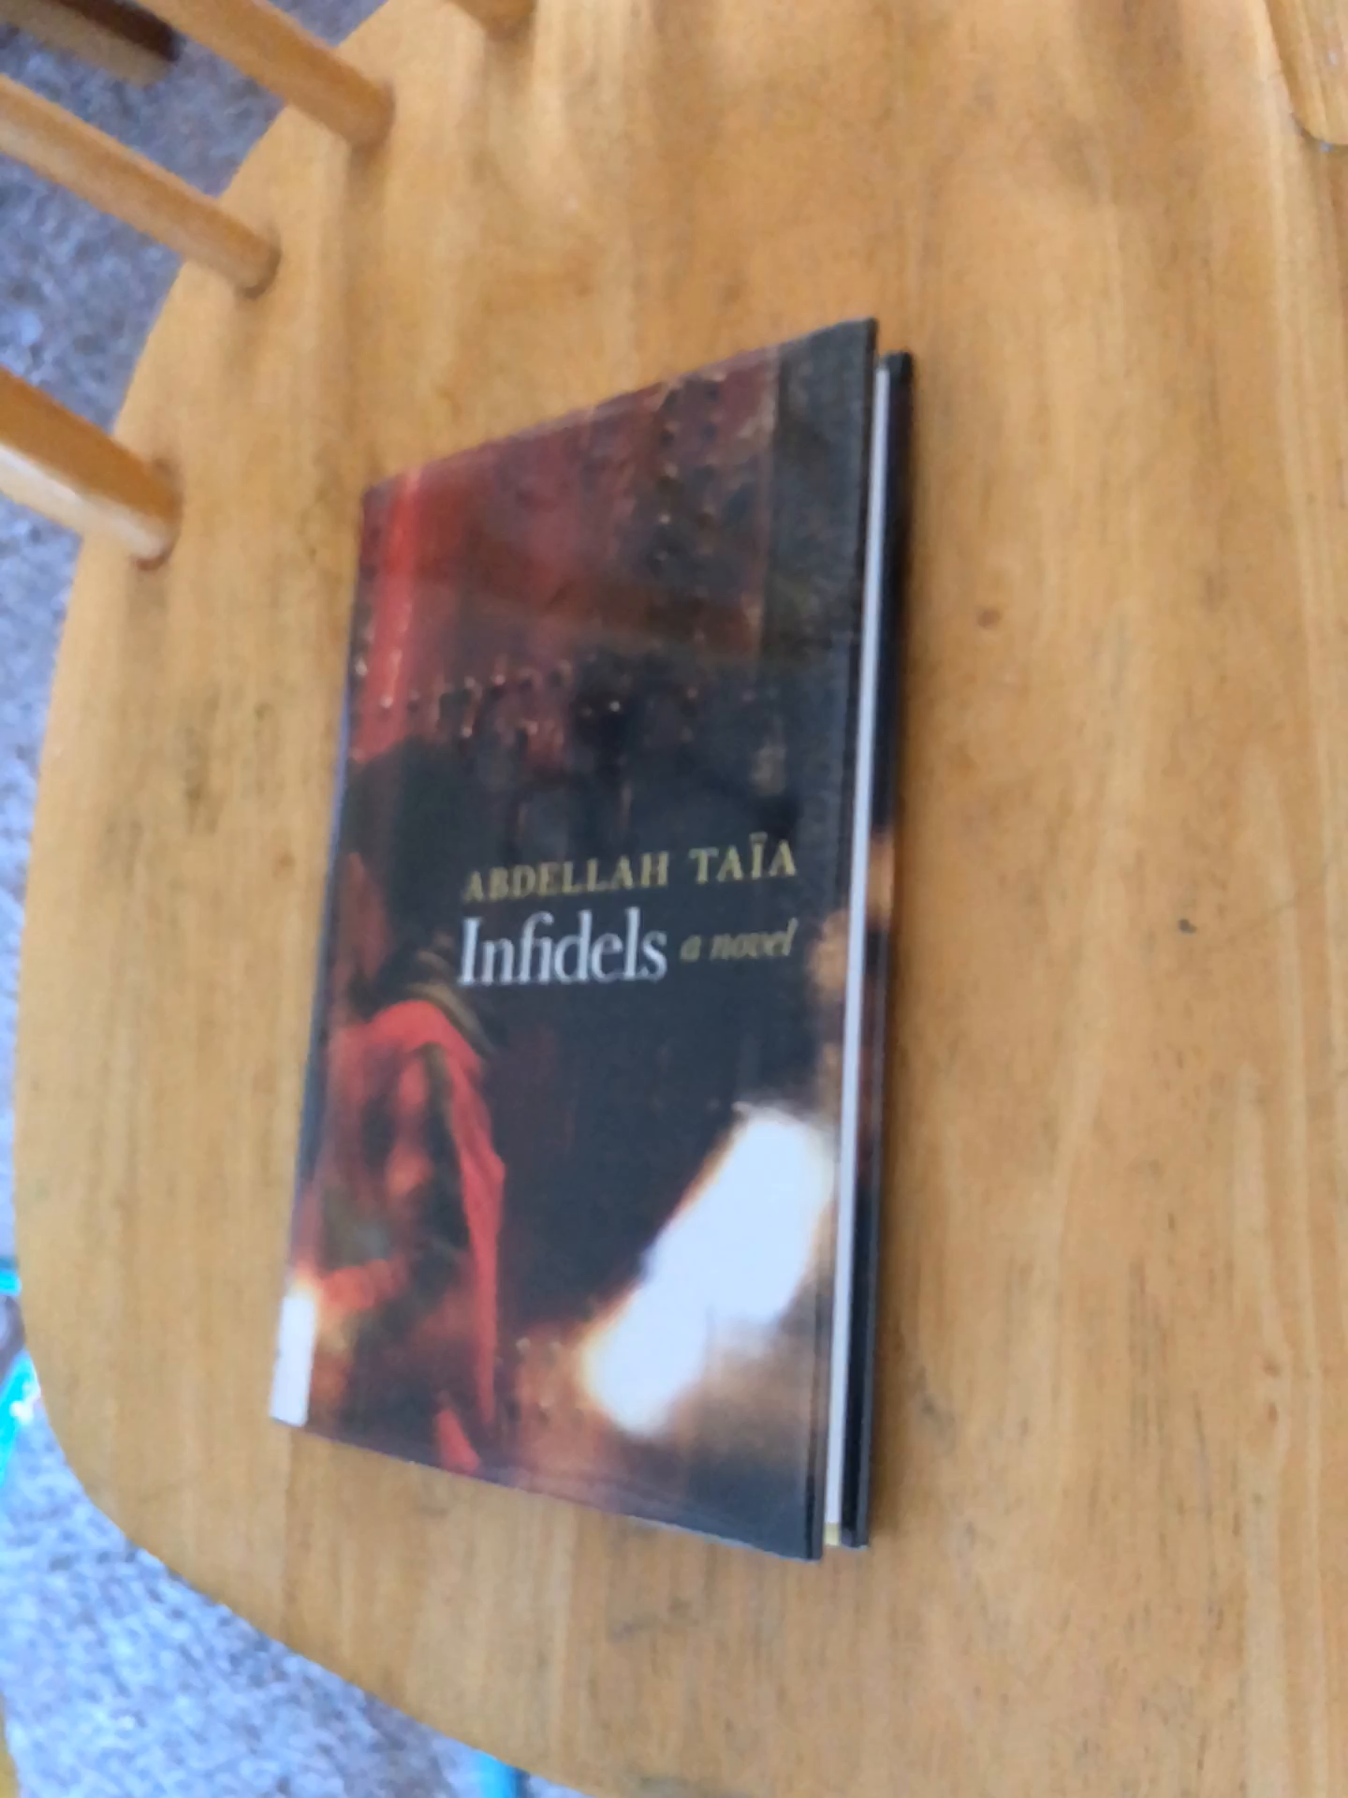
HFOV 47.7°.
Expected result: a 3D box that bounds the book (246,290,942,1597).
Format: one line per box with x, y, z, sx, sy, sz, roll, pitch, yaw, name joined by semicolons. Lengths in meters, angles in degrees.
-0.021;0.005;0.303;0.143;0.020;0.216;-4;77;40;book
